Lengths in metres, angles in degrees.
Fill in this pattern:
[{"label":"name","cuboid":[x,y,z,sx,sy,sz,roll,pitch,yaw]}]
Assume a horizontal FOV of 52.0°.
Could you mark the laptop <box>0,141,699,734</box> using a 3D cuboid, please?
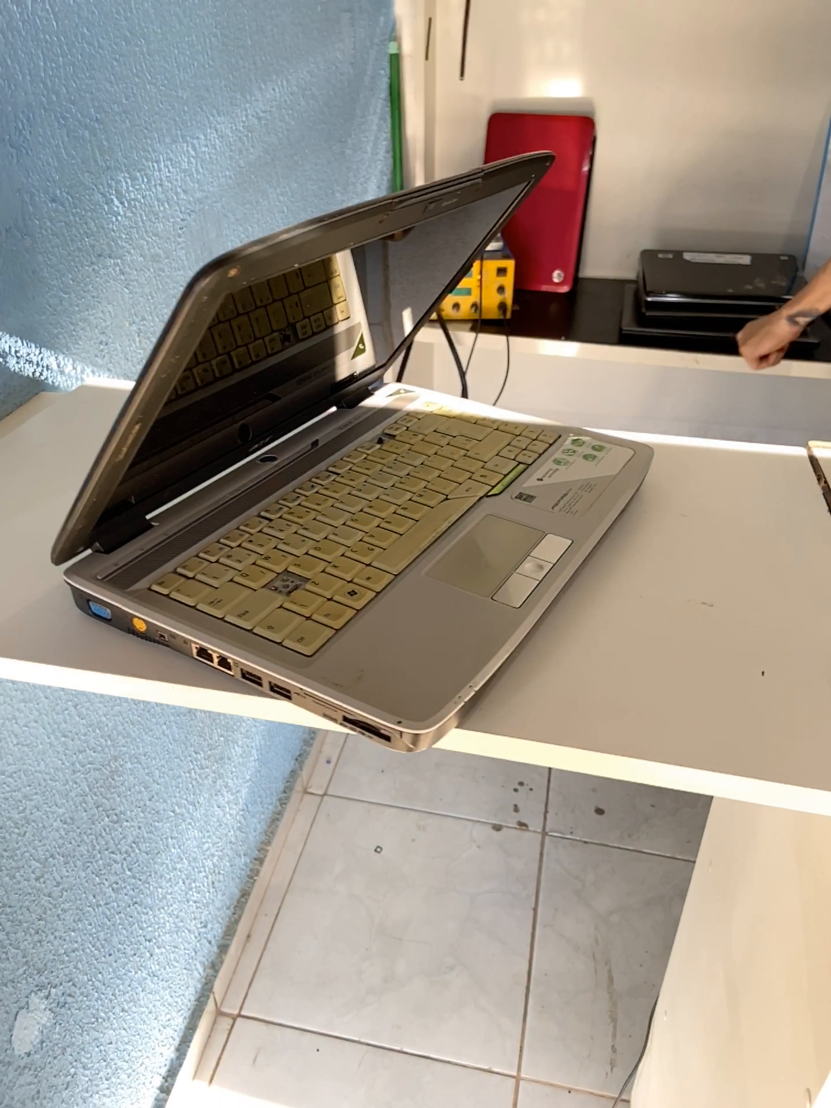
[{"label":"laptop","cuboid":[-0.010,-0.108,0.490,0.225,0.179,0.330,19,37,25]}]
